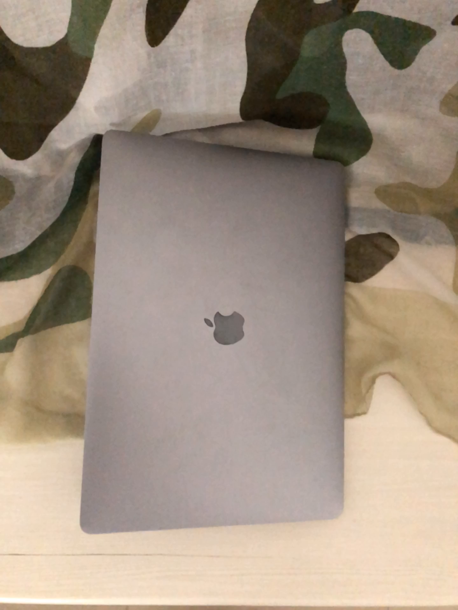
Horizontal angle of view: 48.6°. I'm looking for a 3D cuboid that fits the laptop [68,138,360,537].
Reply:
[{"bbox_3d":[-0.006,0.024,0.468,0.236,0.059,0.338,2,82,-1],"label":"laptop"}]
